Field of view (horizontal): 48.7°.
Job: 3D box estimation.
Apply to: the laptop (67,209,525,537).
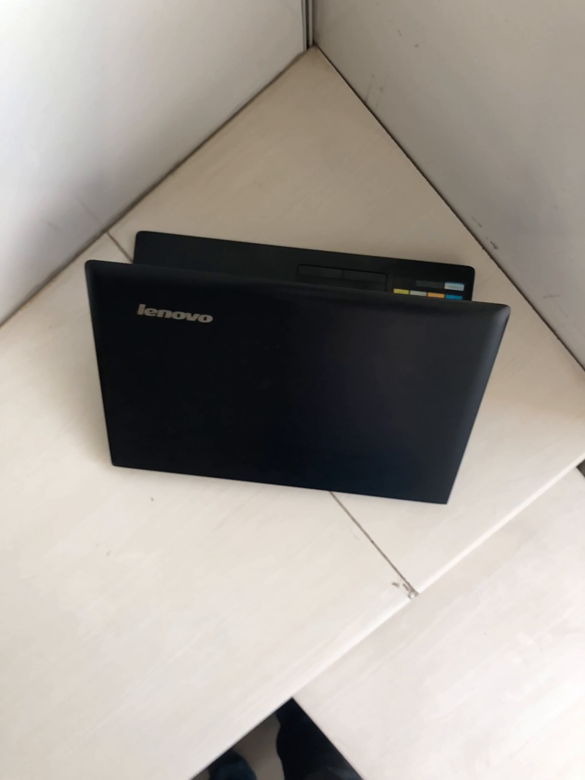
[{"bbox_3d":[-0.003,-0.016,0.649,0.374,0.163,0.252,7,98,1],"label":"laptop"}]
